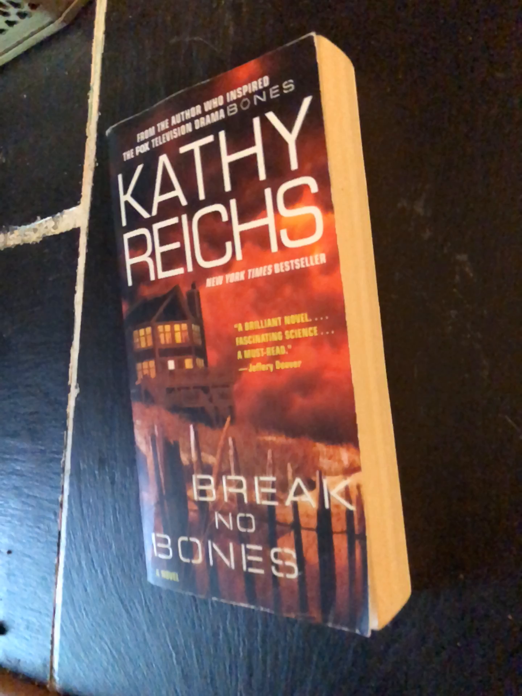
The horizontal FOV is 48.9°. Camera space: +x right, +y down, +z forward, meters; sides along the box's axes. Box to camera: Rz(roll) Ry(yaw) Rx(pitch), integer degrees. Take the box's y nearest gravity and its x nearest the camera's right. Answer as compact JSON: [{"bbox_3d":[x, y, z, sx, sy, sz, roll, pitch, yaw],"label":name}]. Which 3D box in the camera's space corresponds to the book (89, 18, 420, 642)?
[{"bbox_3d":[-0.008,-0.002,0.217,0.108,0.030,0.189,-6,90,35],"label":"book"}]
